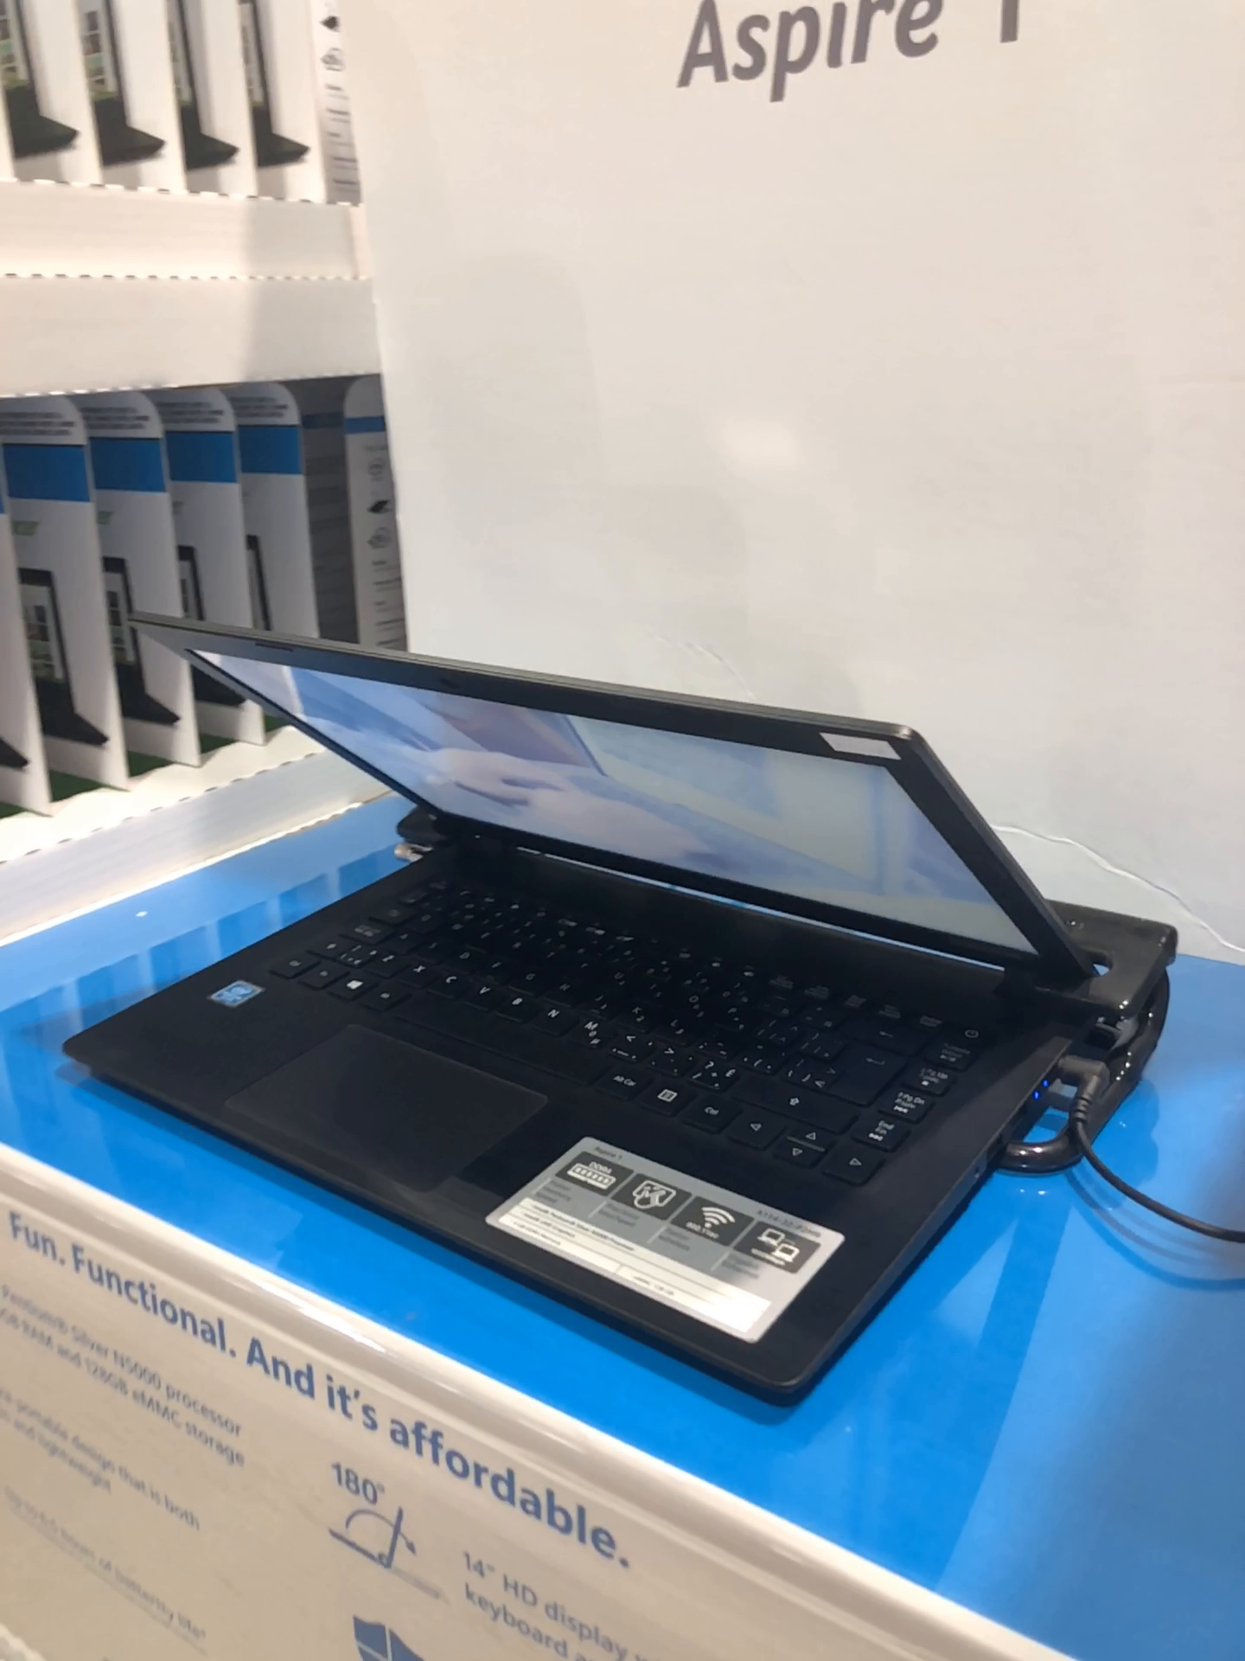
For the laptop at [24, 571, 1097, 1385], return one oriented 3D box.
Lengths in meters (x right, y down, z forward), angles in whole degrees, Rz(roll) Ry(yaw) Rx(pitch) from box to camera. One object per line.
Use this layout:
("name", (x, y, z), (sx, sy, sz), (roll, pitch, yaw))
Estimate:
("laptop", (-0.030, 0.010, 0.511), (0.334, 0.145, 0.206), (13, 27, 36))
